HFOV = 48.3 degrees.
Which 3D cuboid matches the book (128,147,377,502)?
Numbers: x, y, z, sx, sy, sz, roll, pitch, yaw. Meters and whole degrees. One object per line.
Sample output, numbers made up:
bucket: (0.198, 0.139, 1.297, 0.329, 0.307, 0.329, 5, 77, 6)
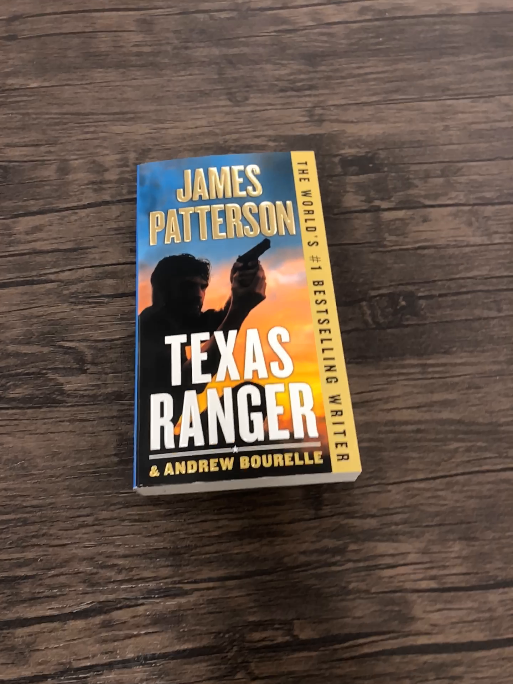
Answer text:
book: (-0.009, -0.016, 0.300, 0.107, 0.040, 0.181, -4, 66, -3)
